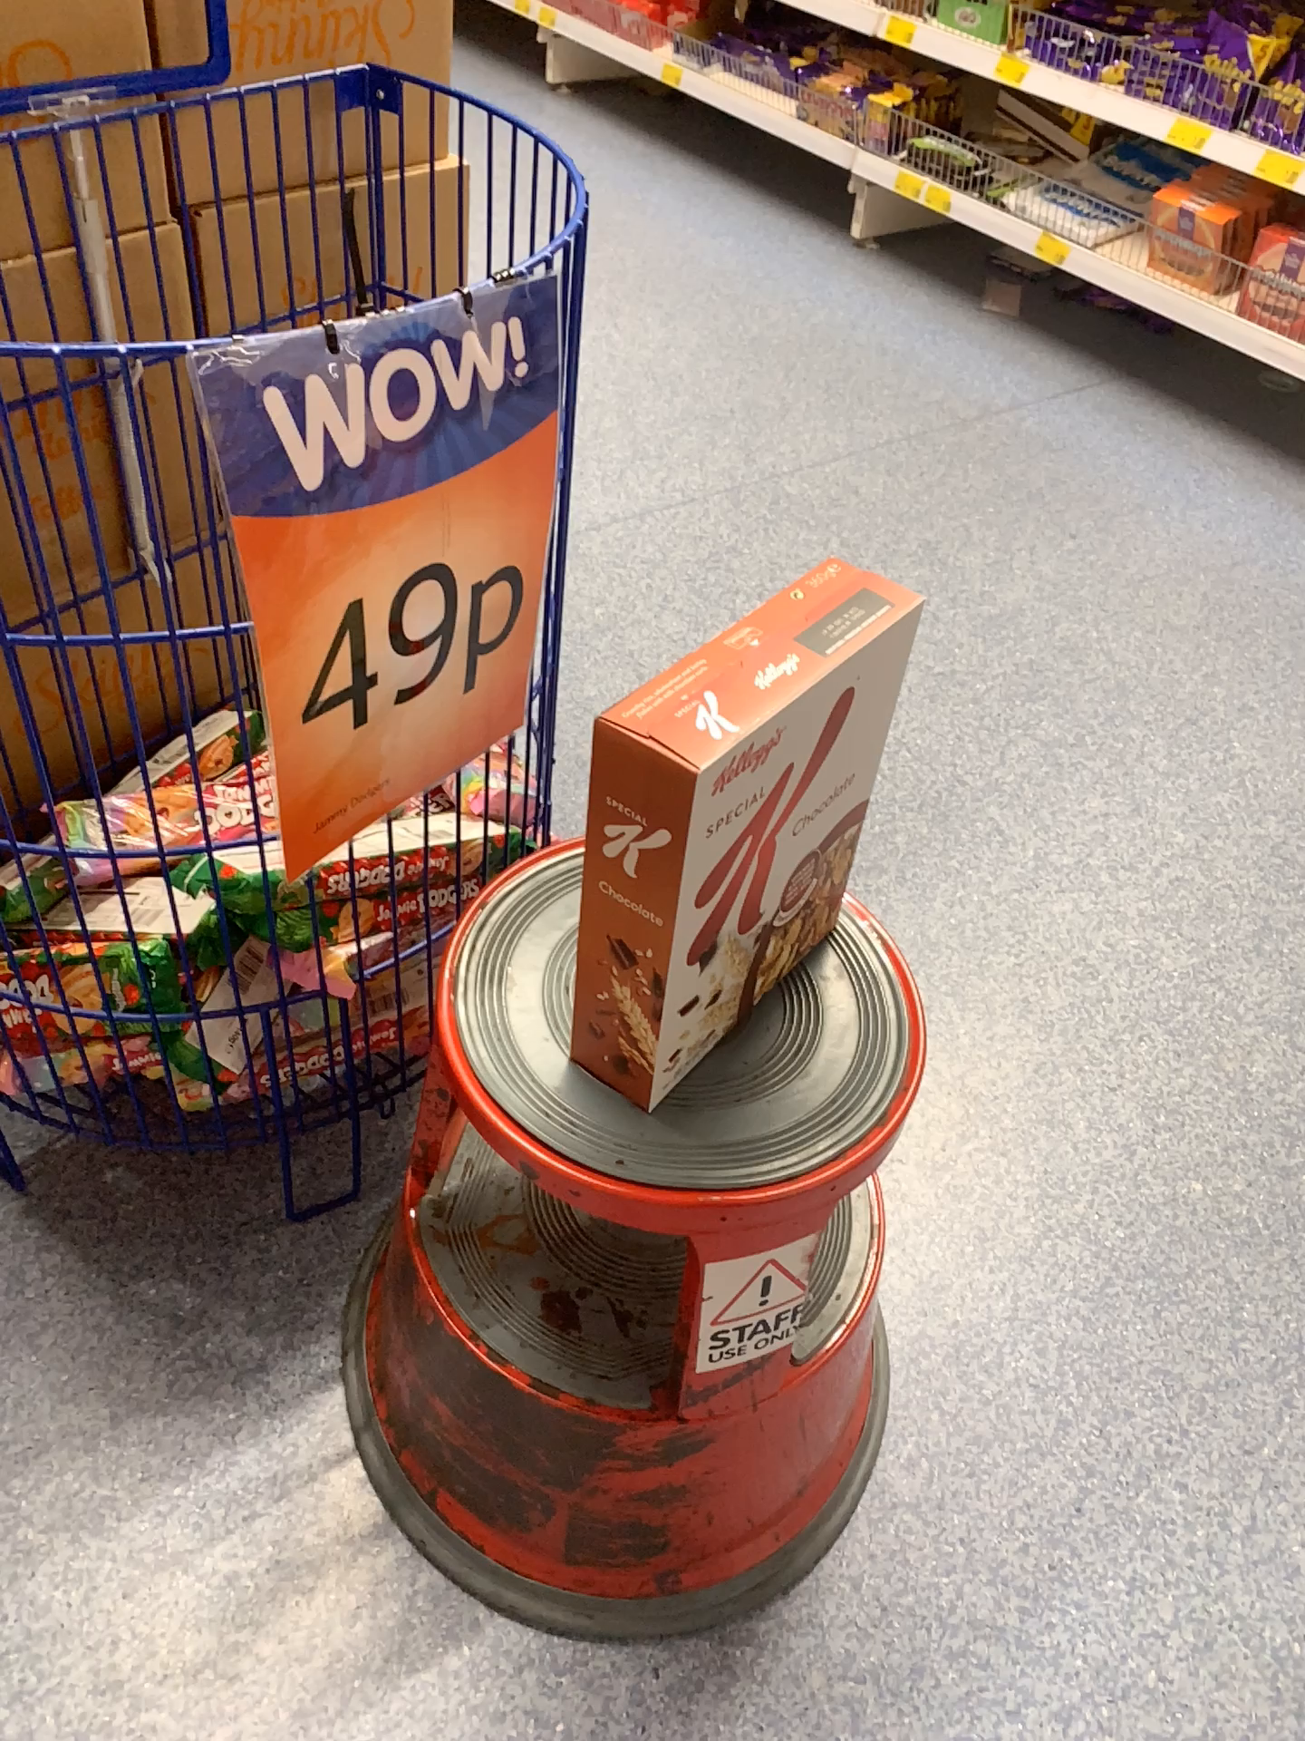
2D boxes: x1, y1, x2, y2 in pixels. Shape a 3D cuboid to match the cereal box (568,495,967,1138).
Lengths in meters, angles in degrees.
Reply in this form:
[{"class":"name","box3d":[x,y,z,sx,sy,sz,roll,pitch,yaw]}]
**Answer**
[{"class":"cereal box","box3d":[0.053,-0.023,0.683,0.060,0.267,0.211,31,49,23]}]
